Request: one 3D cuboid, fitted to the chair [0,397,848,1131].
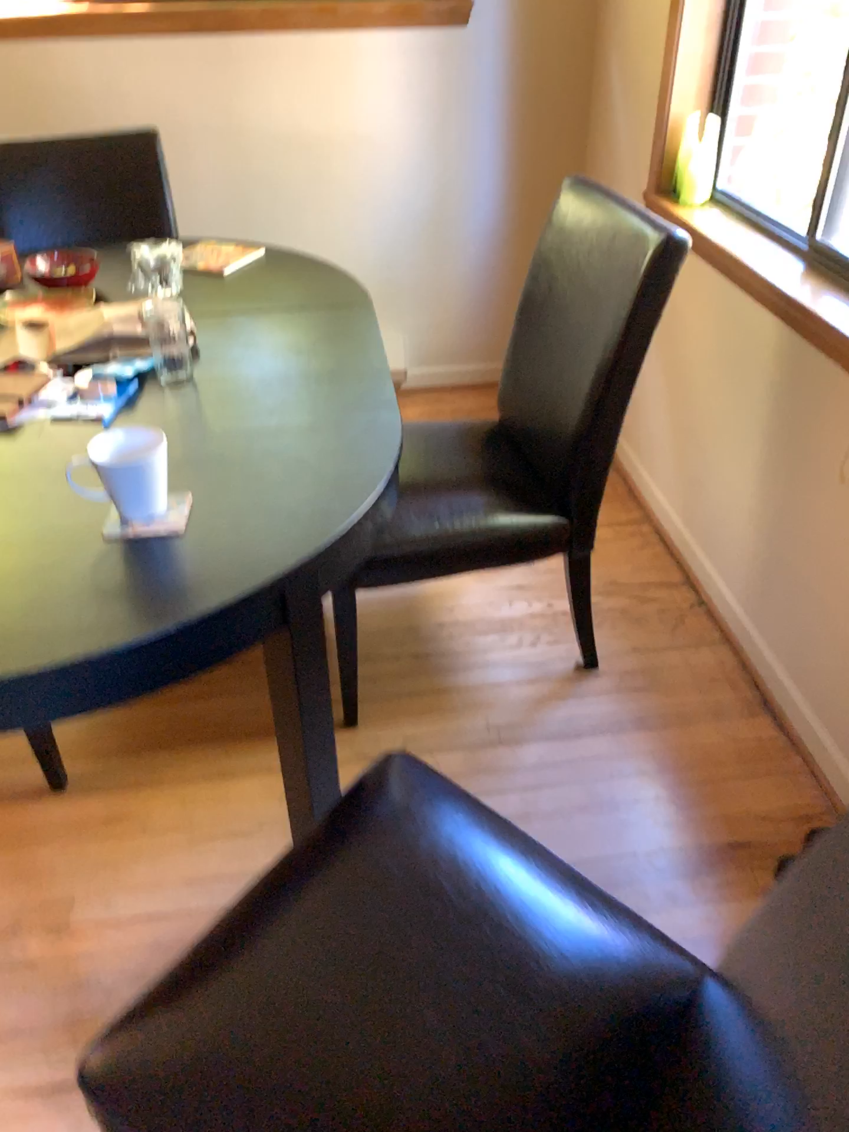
[{"bbox_3d":[0.080,0.520,0.876,0.652,1.083,0.622,23,42,29],"label":"chair"}]
